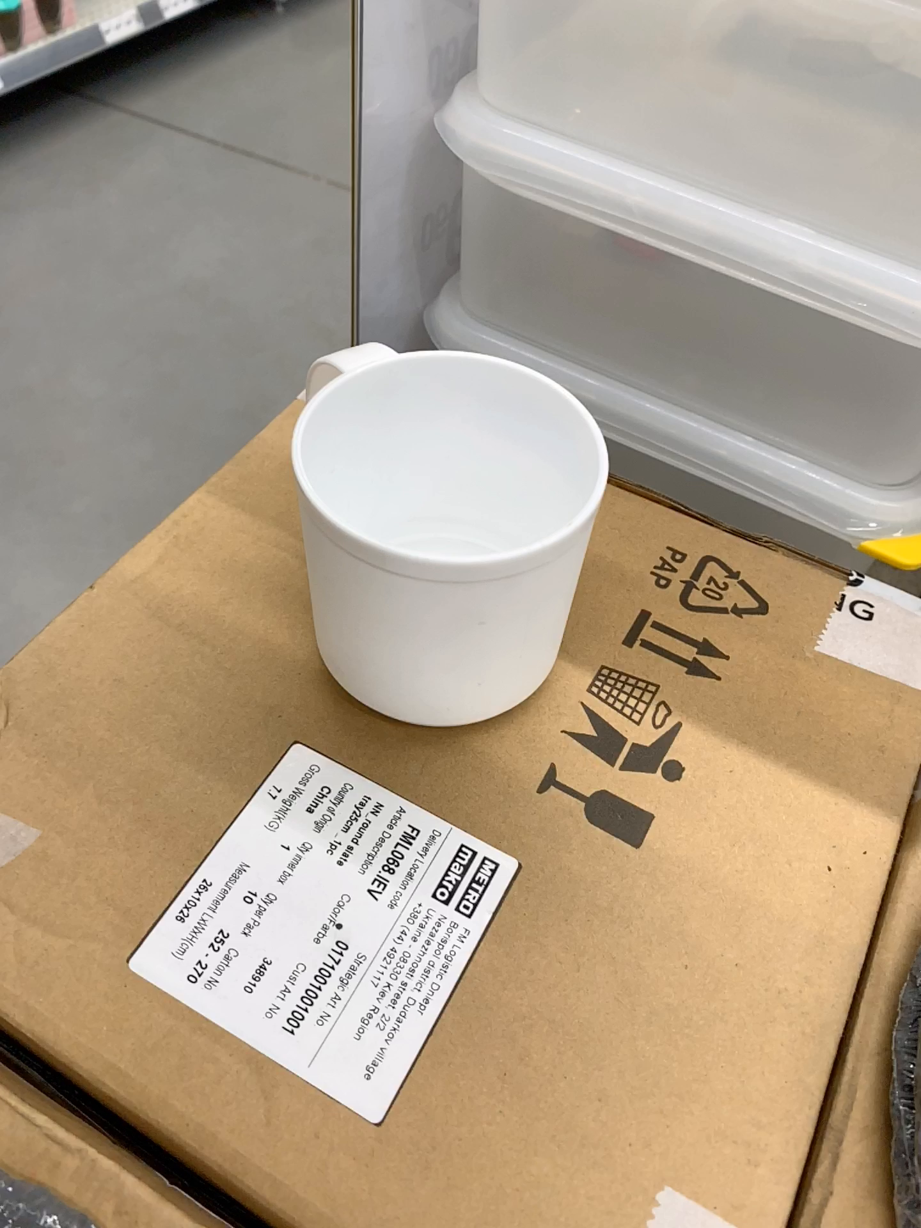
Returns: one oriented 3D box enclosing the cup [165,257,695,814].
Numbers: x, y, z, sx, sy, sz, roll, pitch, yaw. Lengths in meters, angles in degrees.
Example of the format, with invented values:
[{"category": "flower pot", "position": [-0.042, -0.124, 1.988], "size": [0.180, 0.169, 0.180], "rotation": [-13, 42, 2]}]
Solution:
[{"category": "cup", "position": [-0.013, -0.026, 0.260], "size": [0.080, 0.075, 0.113], "rotation": [-26, 57, -24]}]
